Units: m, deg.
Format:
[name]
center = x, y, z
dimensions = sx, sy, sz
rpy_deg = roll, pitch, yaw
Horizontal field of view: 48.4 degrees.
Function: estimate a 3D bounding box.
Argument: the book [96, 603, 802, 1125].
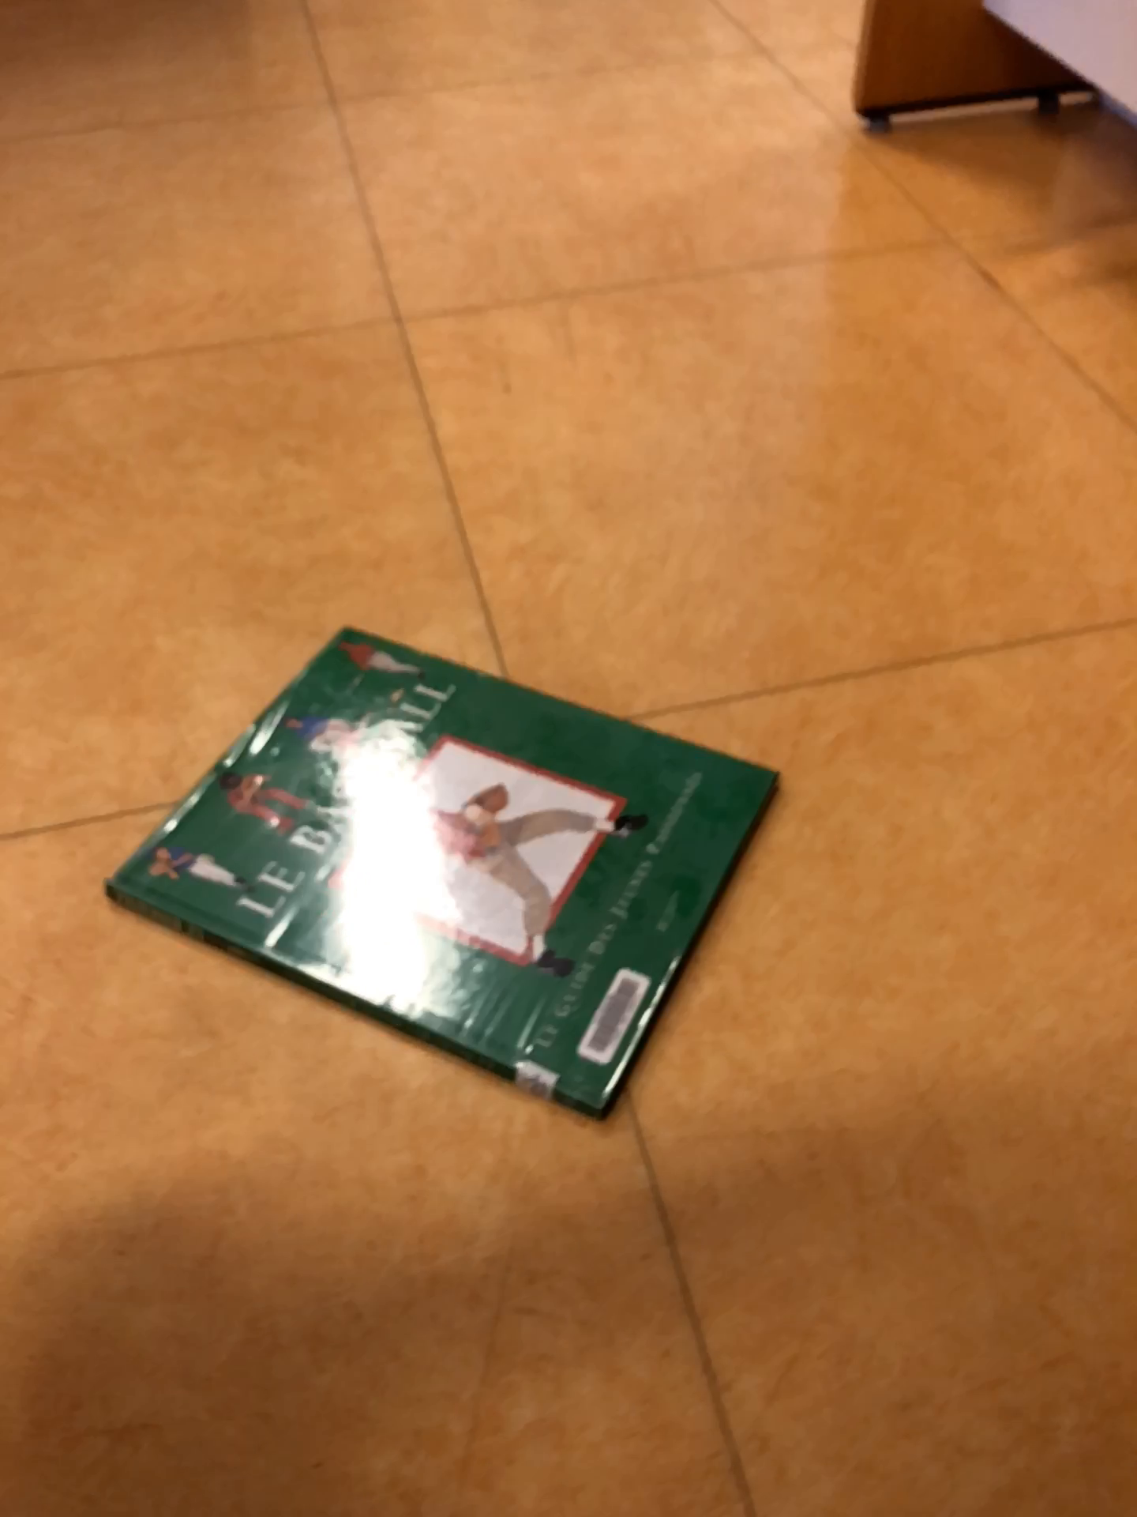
[book]
center = -0.054, 0.031, 0.638
dimensions = 0.280, 0.020, 0.221
rpy_deg = 19, 50, 19
